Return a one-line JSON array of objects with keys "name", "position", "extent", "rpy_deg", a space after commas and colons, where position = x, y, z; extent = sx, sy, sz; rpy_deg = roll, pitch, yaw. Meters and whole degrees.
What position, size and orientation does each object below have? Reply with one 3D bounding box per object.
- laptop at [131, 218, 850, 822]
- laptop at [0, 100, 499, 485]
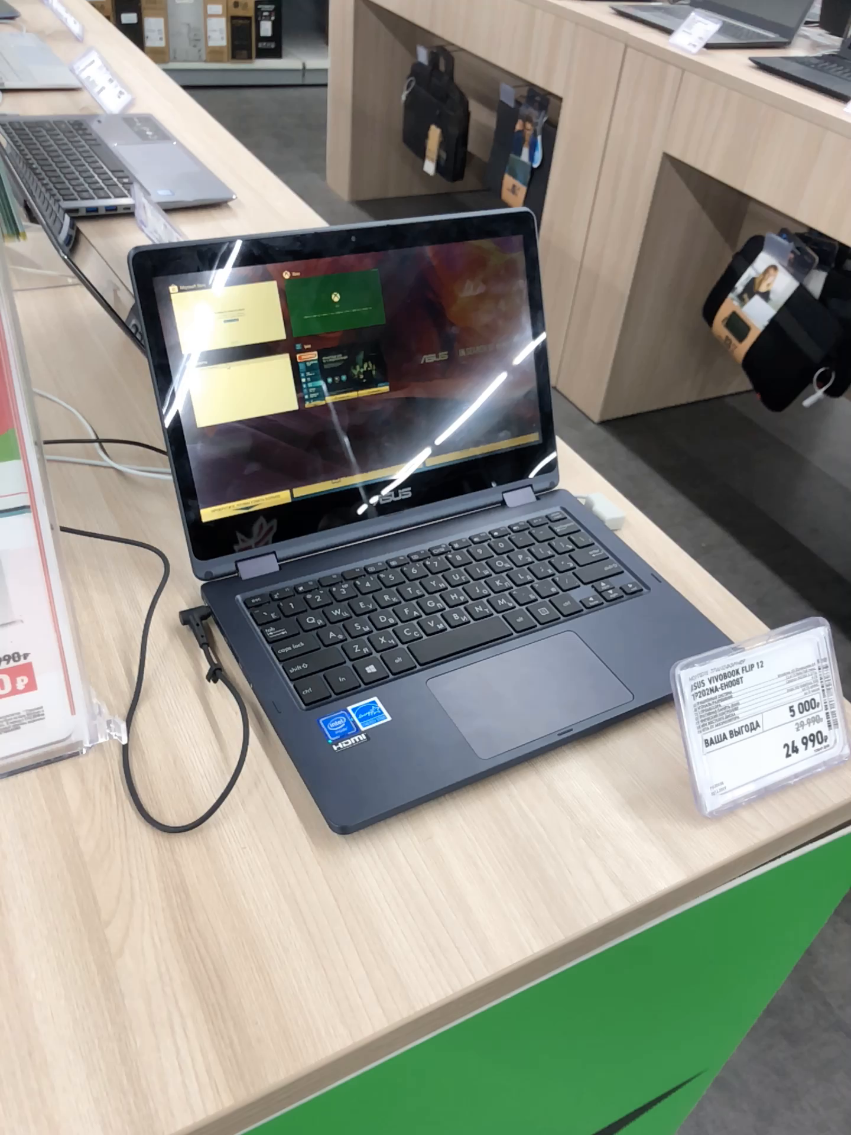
[{"name": "laptop", "position": [0.015, -0.059, 0.542], "extent": [0.270, 0.166, 0.281], "rpy_deg": [-16, 45, -27]}, {"name": "laptop", "position": [-0.147, -0.232, 0.722], "extent": [0.299, 0.162, 0.262], "rpy_deg": [-15, 45, -26]}]
